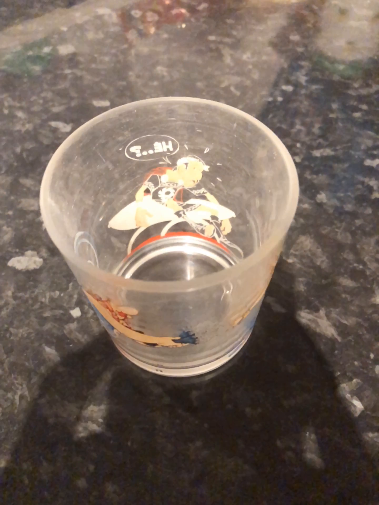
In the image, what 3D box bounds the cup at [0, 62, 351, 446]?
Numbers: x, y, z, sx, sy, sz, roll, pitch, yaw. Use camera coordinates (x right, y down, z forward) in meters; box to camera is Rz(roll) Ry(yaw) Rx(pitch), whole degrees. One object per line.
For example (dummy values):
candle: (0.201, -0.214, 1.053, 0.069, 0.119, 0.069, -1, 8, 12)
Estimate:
cup: (-0.008, 0.002, 0.150, 0.080, 0.080, 0.080, -1, 57, 1)
